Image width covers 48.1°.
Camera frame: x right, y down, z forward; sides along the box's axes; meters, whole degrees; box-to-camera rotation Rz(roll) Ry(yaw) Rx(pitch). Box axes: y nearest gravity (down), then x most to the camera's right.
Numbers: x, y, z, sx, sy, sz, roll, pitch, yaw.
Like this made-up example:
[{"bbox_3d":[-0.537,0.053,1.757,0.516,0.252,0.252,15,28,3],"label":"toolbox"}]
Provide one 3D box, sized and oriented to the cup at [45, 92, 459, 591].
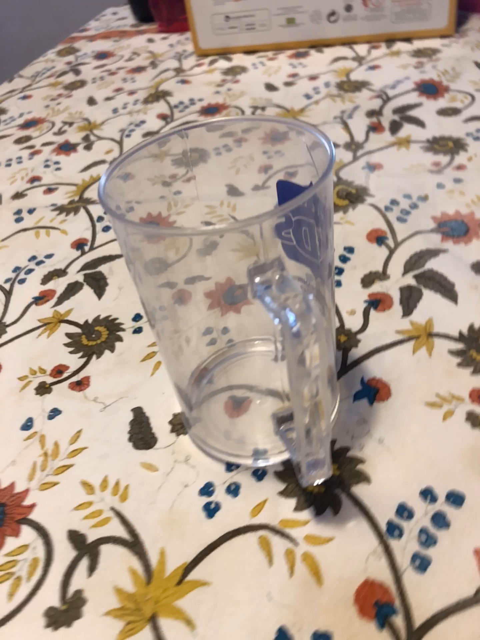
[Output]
[{"bbox_3d":[-0.001,0.002,0.188,0.080,0.109,0.111,-22,42,-11],"label":"cup"}]
